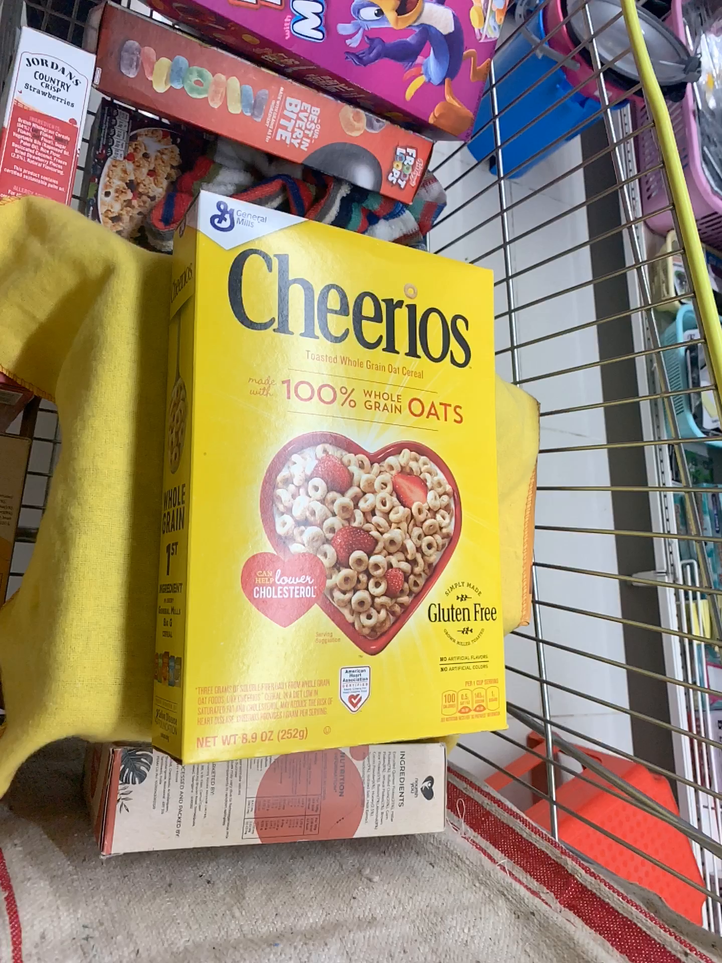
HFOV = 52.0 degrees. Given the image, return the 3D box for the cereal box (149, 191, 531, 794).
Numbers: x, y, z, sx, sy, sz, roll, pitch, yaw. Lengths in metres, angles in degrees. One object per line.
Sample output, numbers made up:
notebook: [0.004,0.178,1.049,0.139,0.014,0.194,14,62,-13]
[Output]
cereal box: [-0.006,0.007,0.401,0.191,0.060,0.270,4,80,-29]
